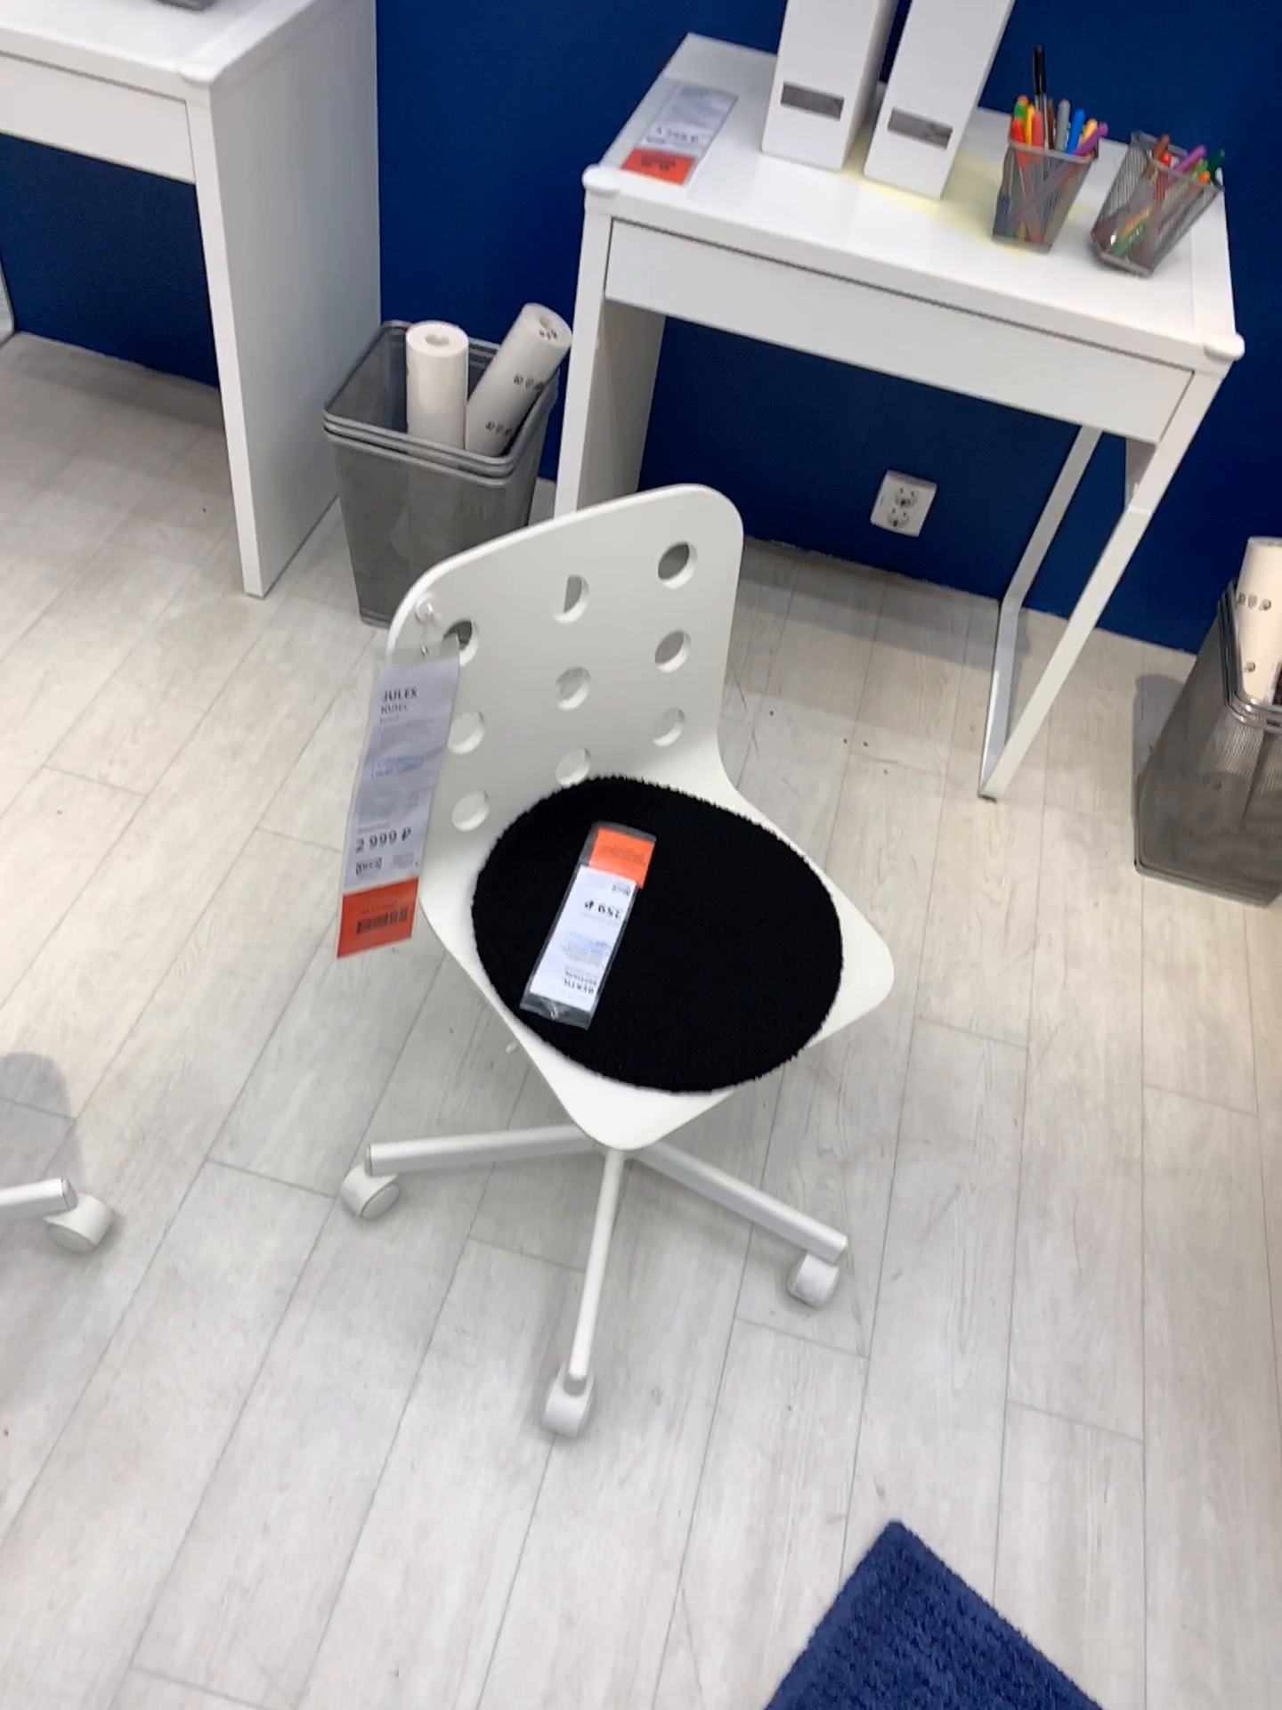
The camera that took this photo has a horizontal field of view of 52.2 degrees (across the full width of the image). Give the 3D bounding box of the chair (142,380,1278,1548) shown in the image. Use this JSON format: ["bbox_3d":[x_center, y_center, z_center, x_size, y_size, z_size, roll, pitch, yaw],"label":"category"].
[{"bbox_3d":[0.007,0.107,1.234,0.602,0.737,0.591,-28,61,-29],"label":"chair"}]
